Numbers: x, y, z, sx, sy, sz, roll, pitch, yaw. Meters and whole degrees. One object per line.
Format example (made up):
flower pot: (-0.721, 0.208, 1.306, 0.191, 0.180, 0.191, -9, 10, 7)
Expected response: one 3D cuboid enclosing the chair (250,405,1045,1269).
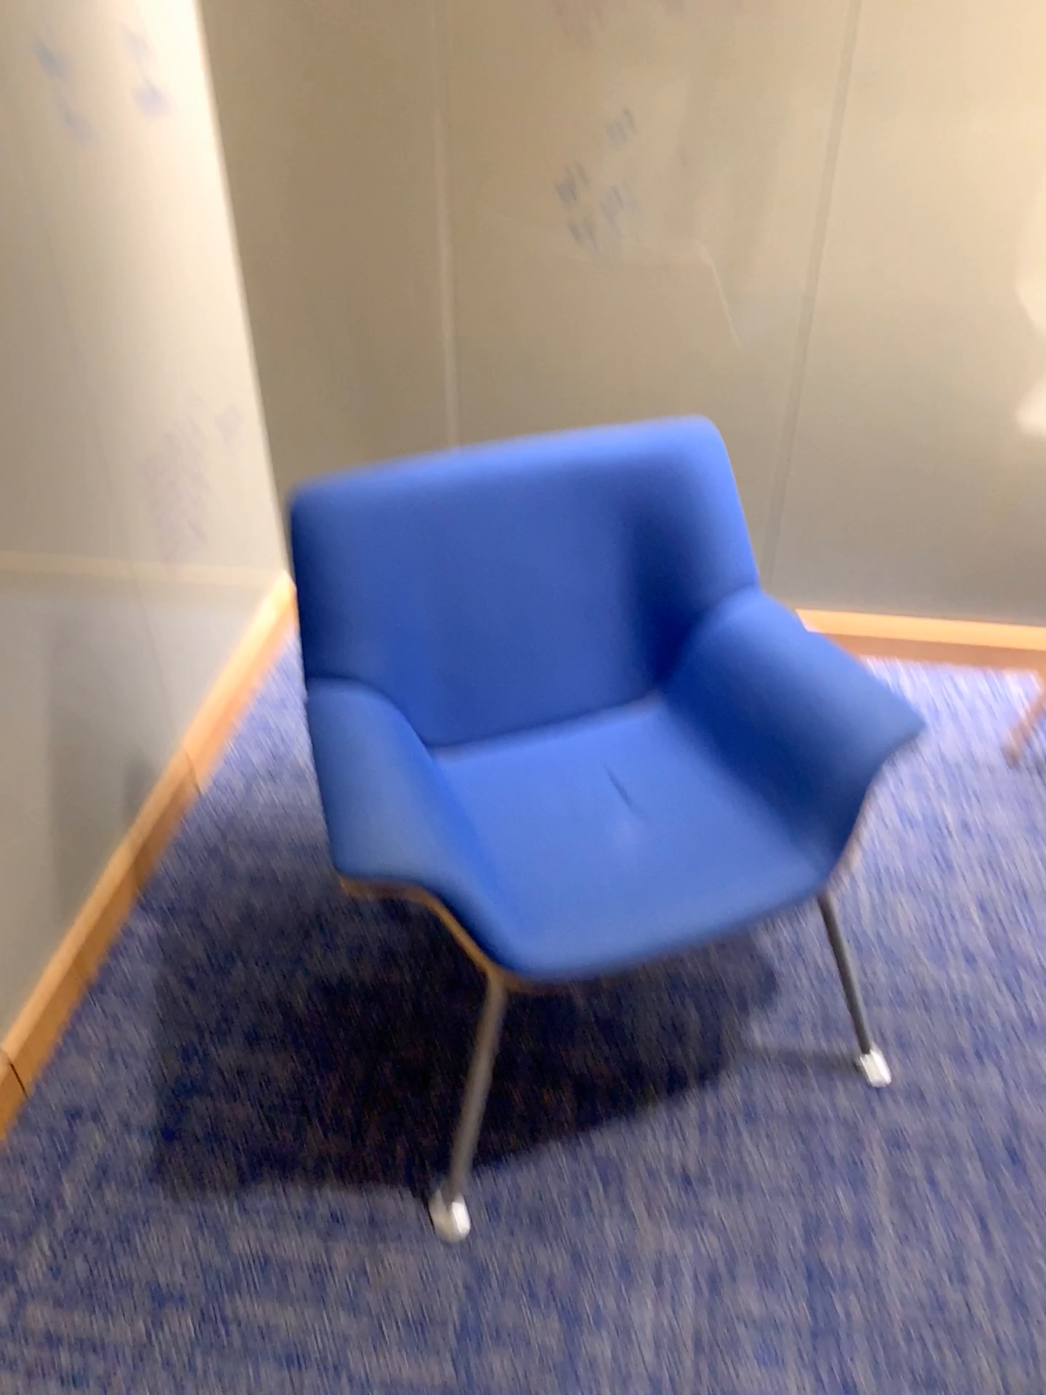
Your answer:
chair: (0.129, 0.124, 1.486, 0.789, 0.711, 0.744, -13, 39, -16)
